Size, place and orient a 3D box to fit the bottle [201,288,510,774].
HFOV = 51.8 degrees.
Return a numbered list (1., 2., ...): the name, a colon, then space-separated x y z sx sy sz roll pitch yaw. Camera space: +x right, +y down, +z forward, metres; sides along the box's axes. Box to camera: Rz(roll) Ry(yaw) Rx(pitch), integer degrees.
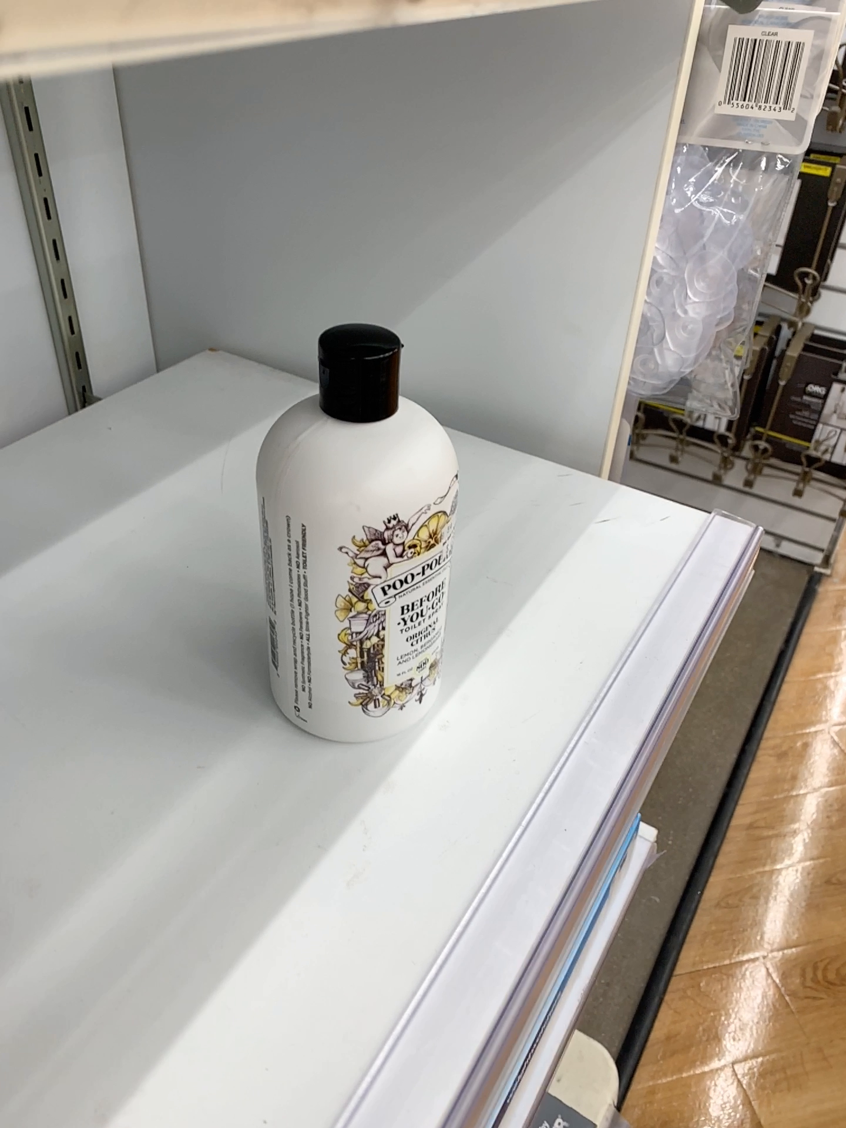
1. bottle: -0.025 -0.011 0.330 0.070 0.153 0.073 2 37 -2
